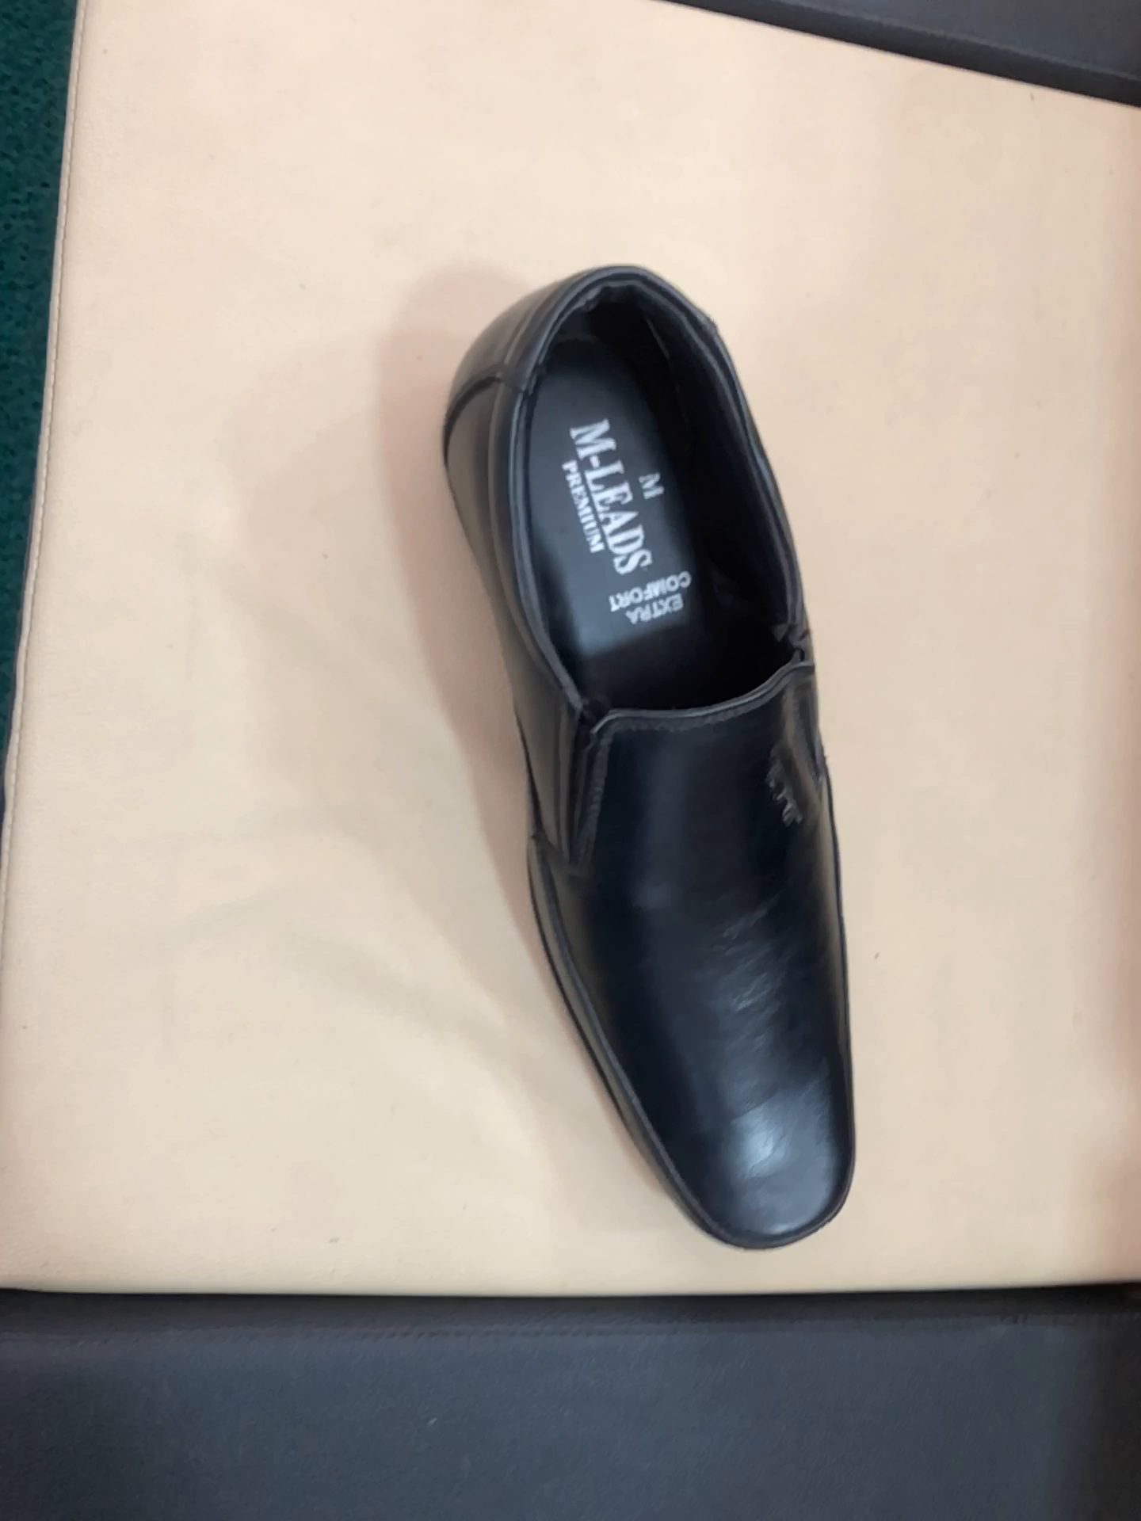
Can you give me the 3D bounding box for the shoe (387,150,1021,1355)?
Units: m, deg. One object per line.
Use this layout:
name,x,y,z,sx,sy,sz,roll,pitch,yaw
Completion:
shoe,0.033,-0.005,0.370,0.100,0.080,0.300,-13,91,-13
